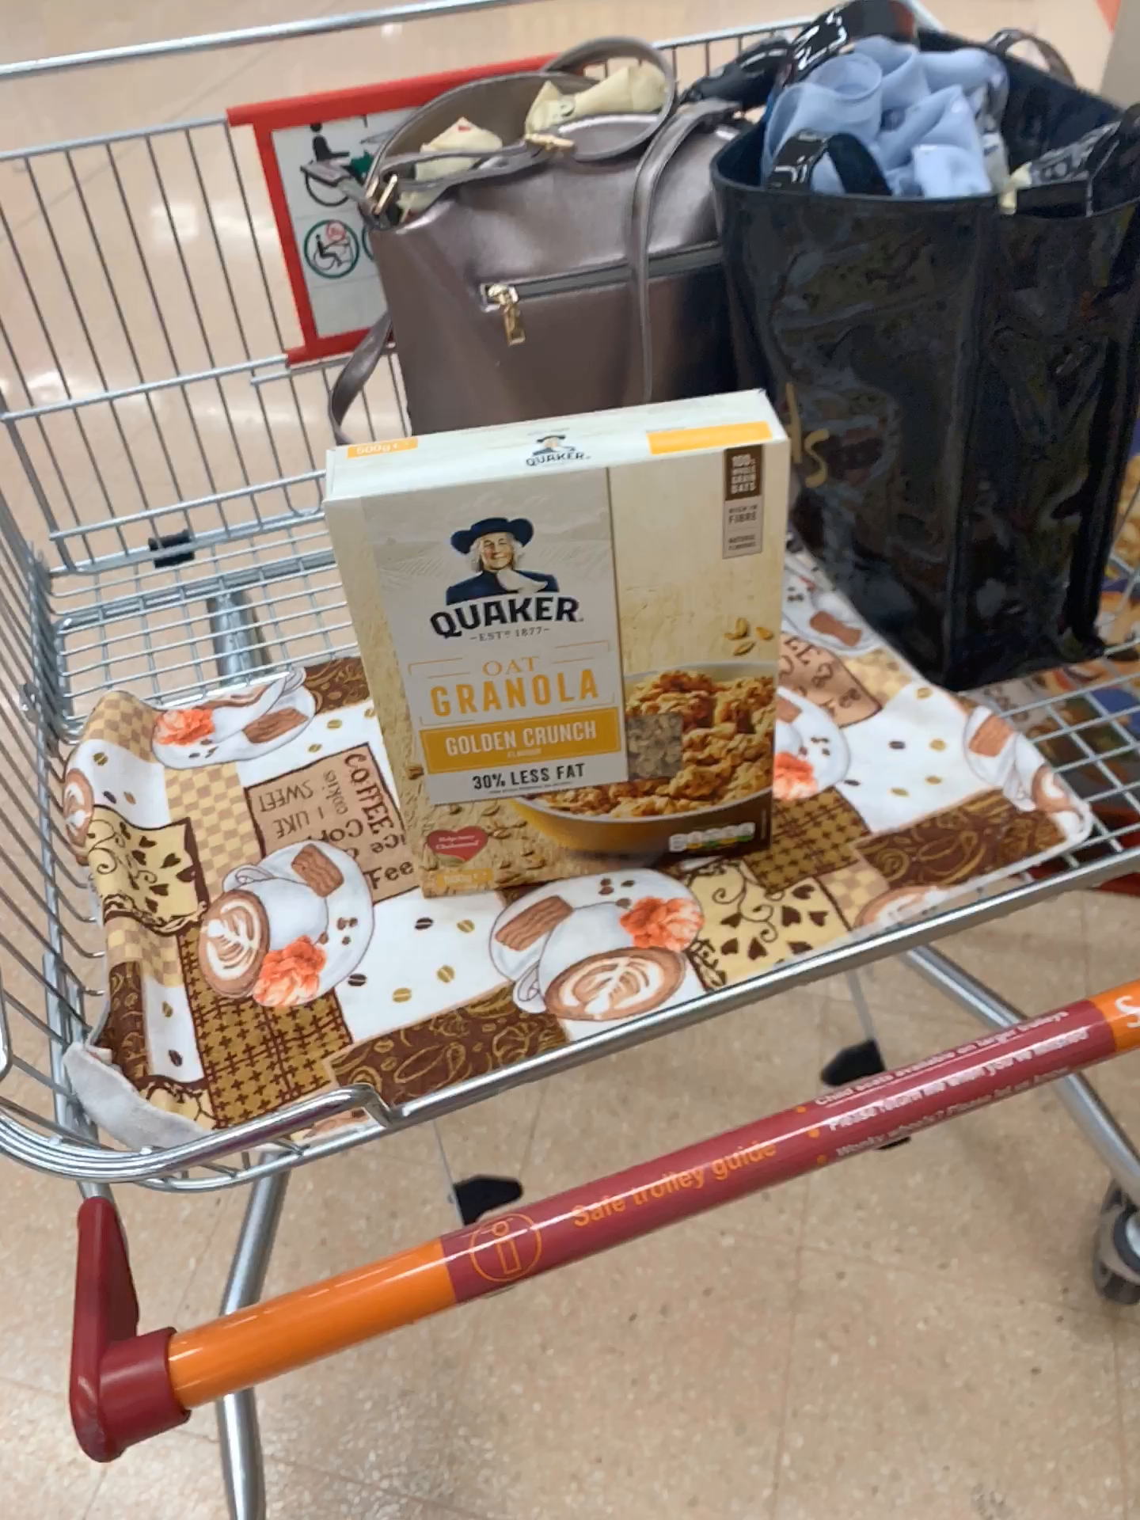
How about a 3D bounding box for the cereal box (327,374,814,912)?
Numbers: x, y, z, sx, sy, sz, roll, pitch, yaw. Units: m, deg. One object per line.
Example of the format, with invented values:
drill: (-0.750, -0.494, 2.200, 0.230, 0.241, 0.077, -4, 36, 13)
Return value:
cereal box: (0.008, -0.044, 0.581, 0.200, 0.258, 0.050, -9, 42, -3)
